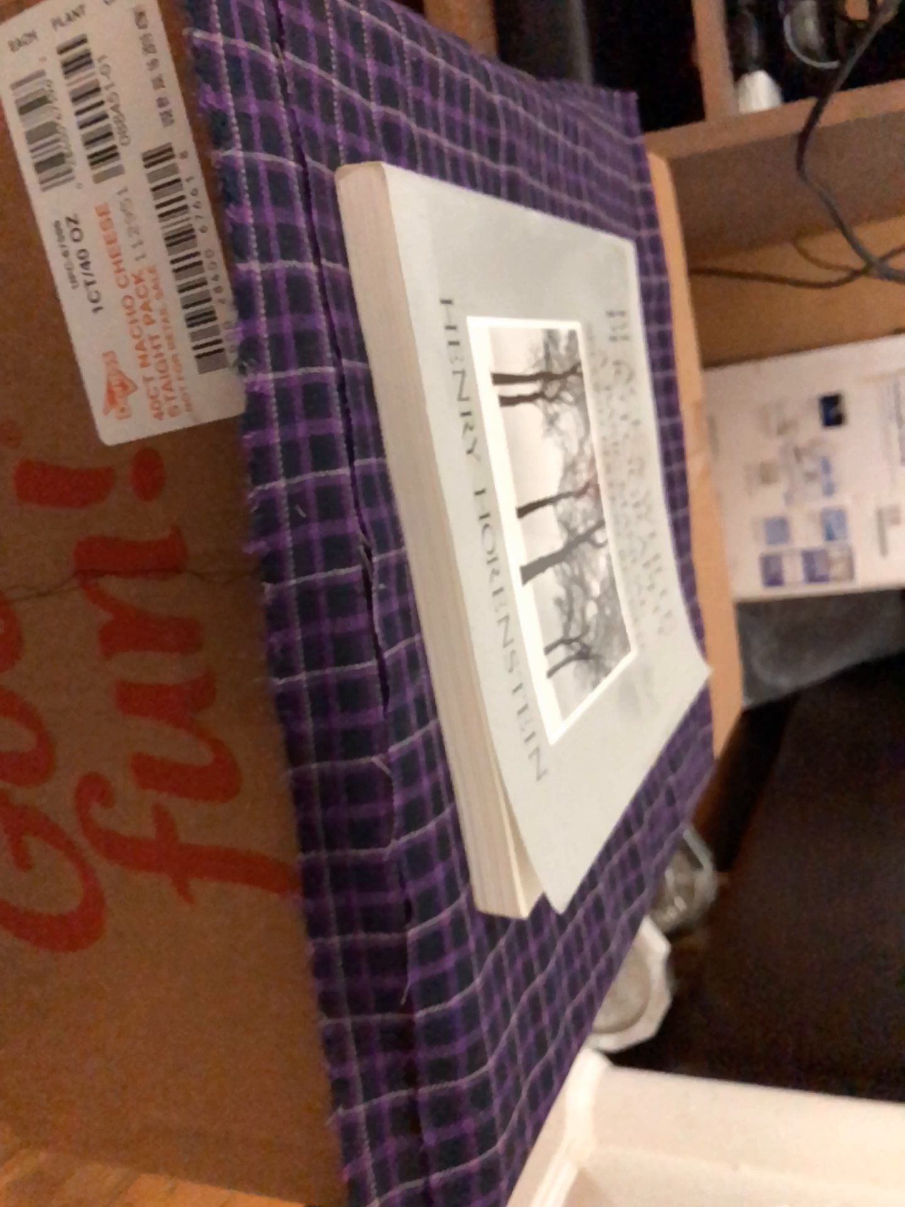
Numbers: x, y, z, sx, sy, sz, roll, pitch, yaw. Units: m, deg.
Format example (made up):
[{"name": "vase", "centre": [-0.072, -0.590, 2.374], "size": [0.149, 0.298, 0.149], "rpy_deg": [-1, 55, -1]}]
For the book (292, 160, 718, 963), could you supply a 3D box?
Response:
[{"name": "book", "centre": [0.045, -0.031, 0.376], "size": [0.251, 0.030, 0.210], "rpy_deg": [-28, 110, -61]}]
